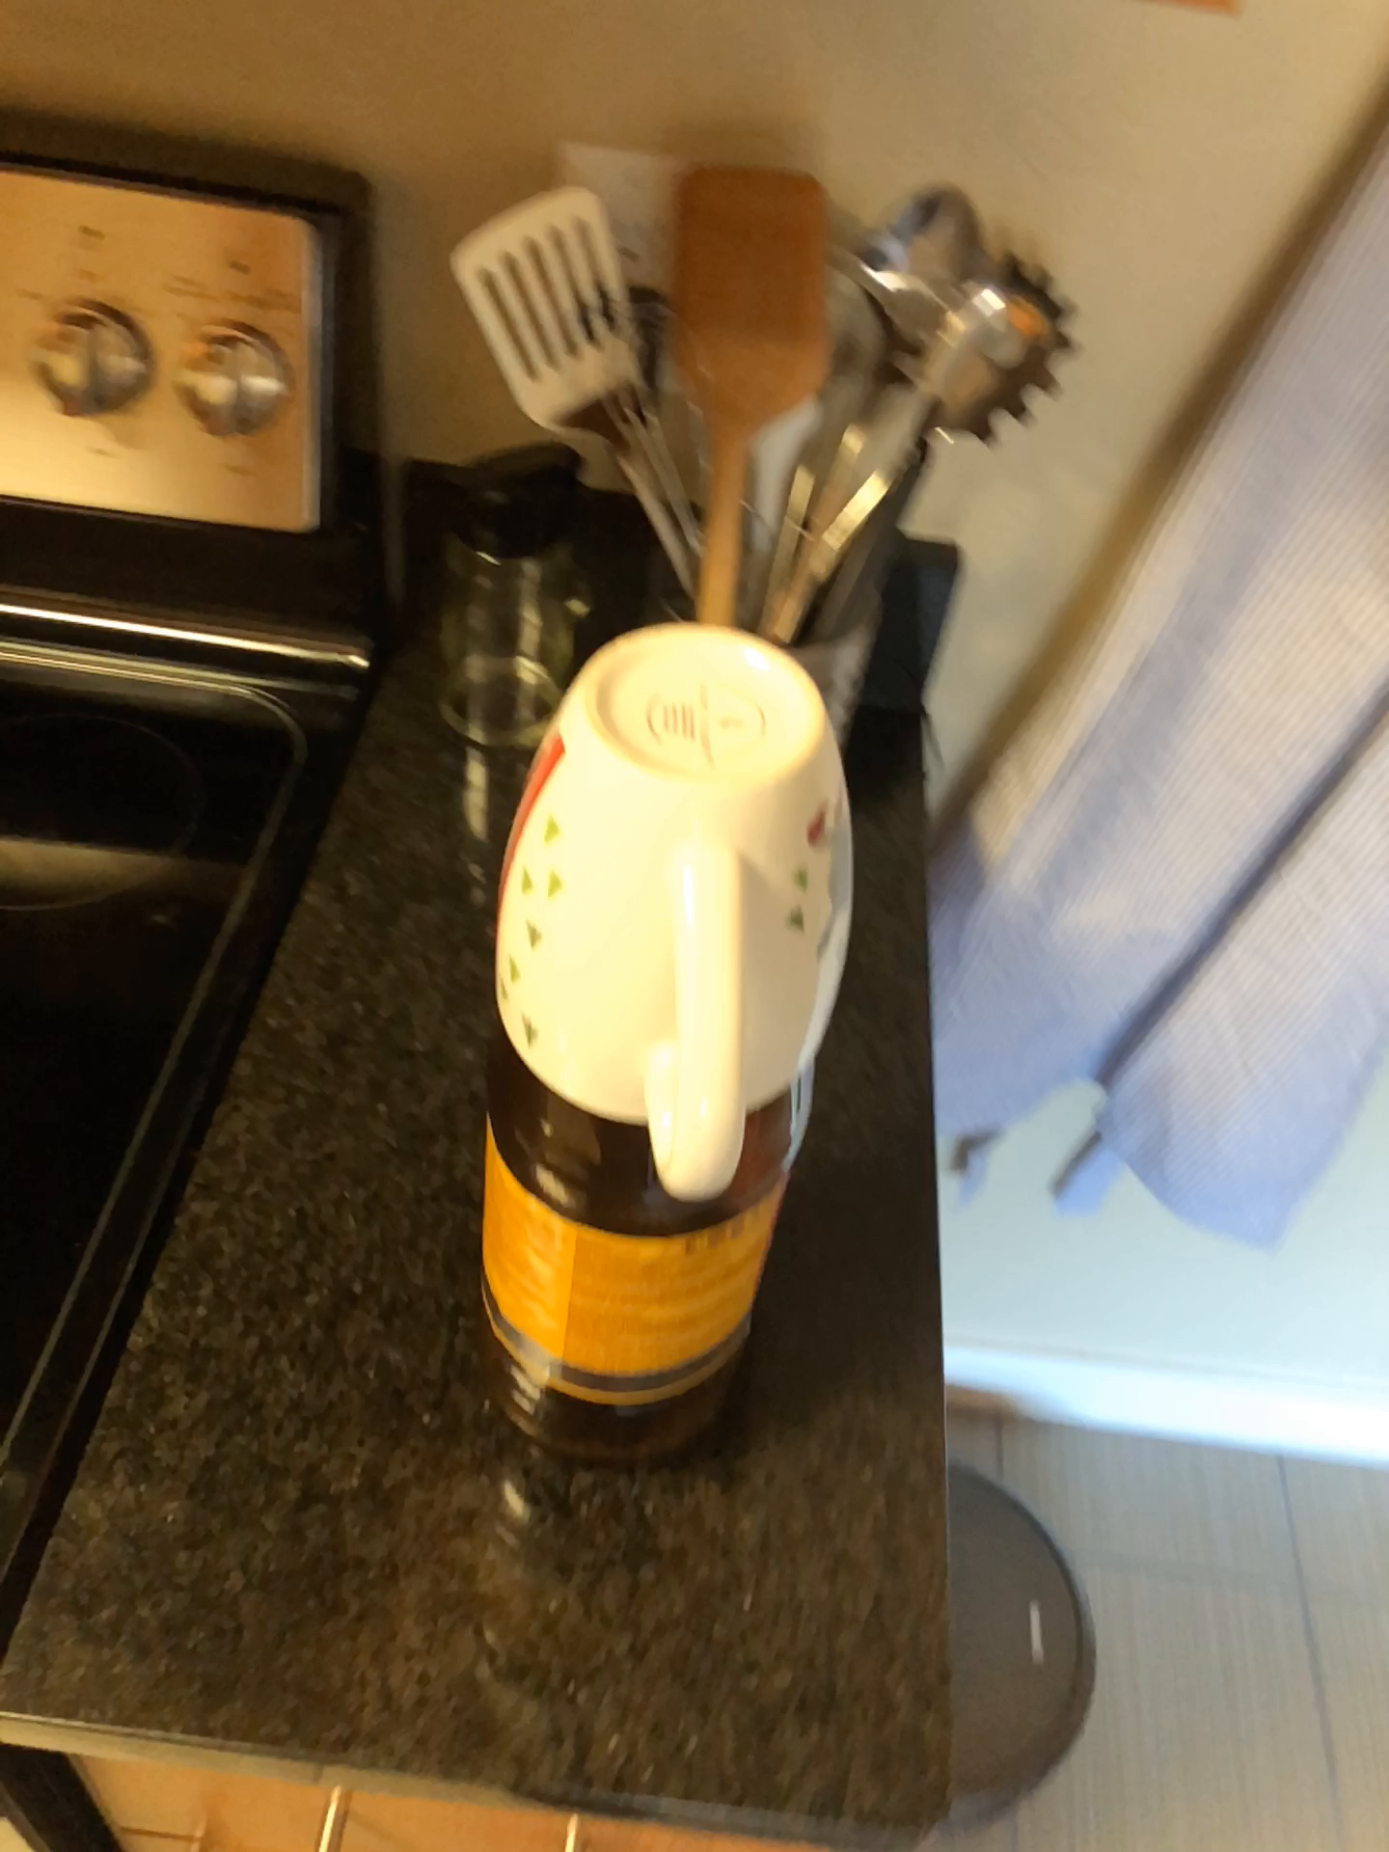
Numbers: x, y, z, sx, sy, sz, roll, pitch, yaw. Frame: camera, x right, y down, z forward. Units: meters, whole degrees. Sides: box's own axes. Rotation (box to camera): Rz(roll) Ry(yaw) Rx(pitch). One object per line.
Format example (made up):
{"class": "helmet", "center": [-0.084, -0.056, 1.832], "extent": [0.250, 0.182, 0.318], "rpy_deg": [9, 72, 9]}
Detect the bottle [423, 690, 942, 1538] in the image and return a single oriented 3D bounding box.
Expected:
{"class": "bottle", "center": [-0.018, 0.077, 0.511], "extent": [0.100, 0.279, 0.100], "rpy_deg": [5, 46, -5]}
